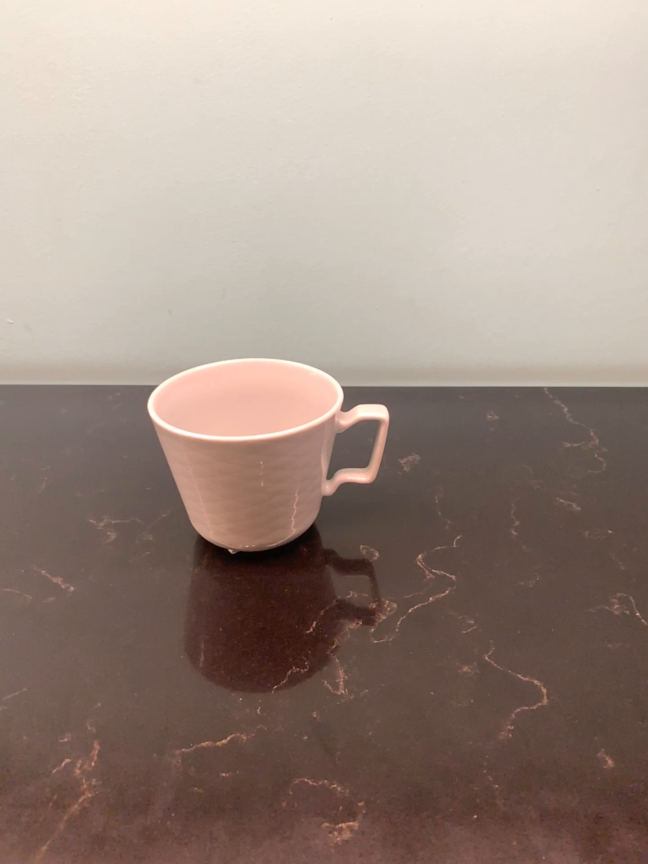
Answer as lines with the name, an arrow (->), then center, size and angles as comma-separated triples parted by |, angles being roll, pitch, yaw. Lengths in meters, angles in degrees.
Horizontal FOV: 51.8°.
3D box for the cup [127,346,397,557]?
cup -> -0.028, 0.007, 0.383 | 0.130, 0.080, 0.100 | 0, 29, 2
